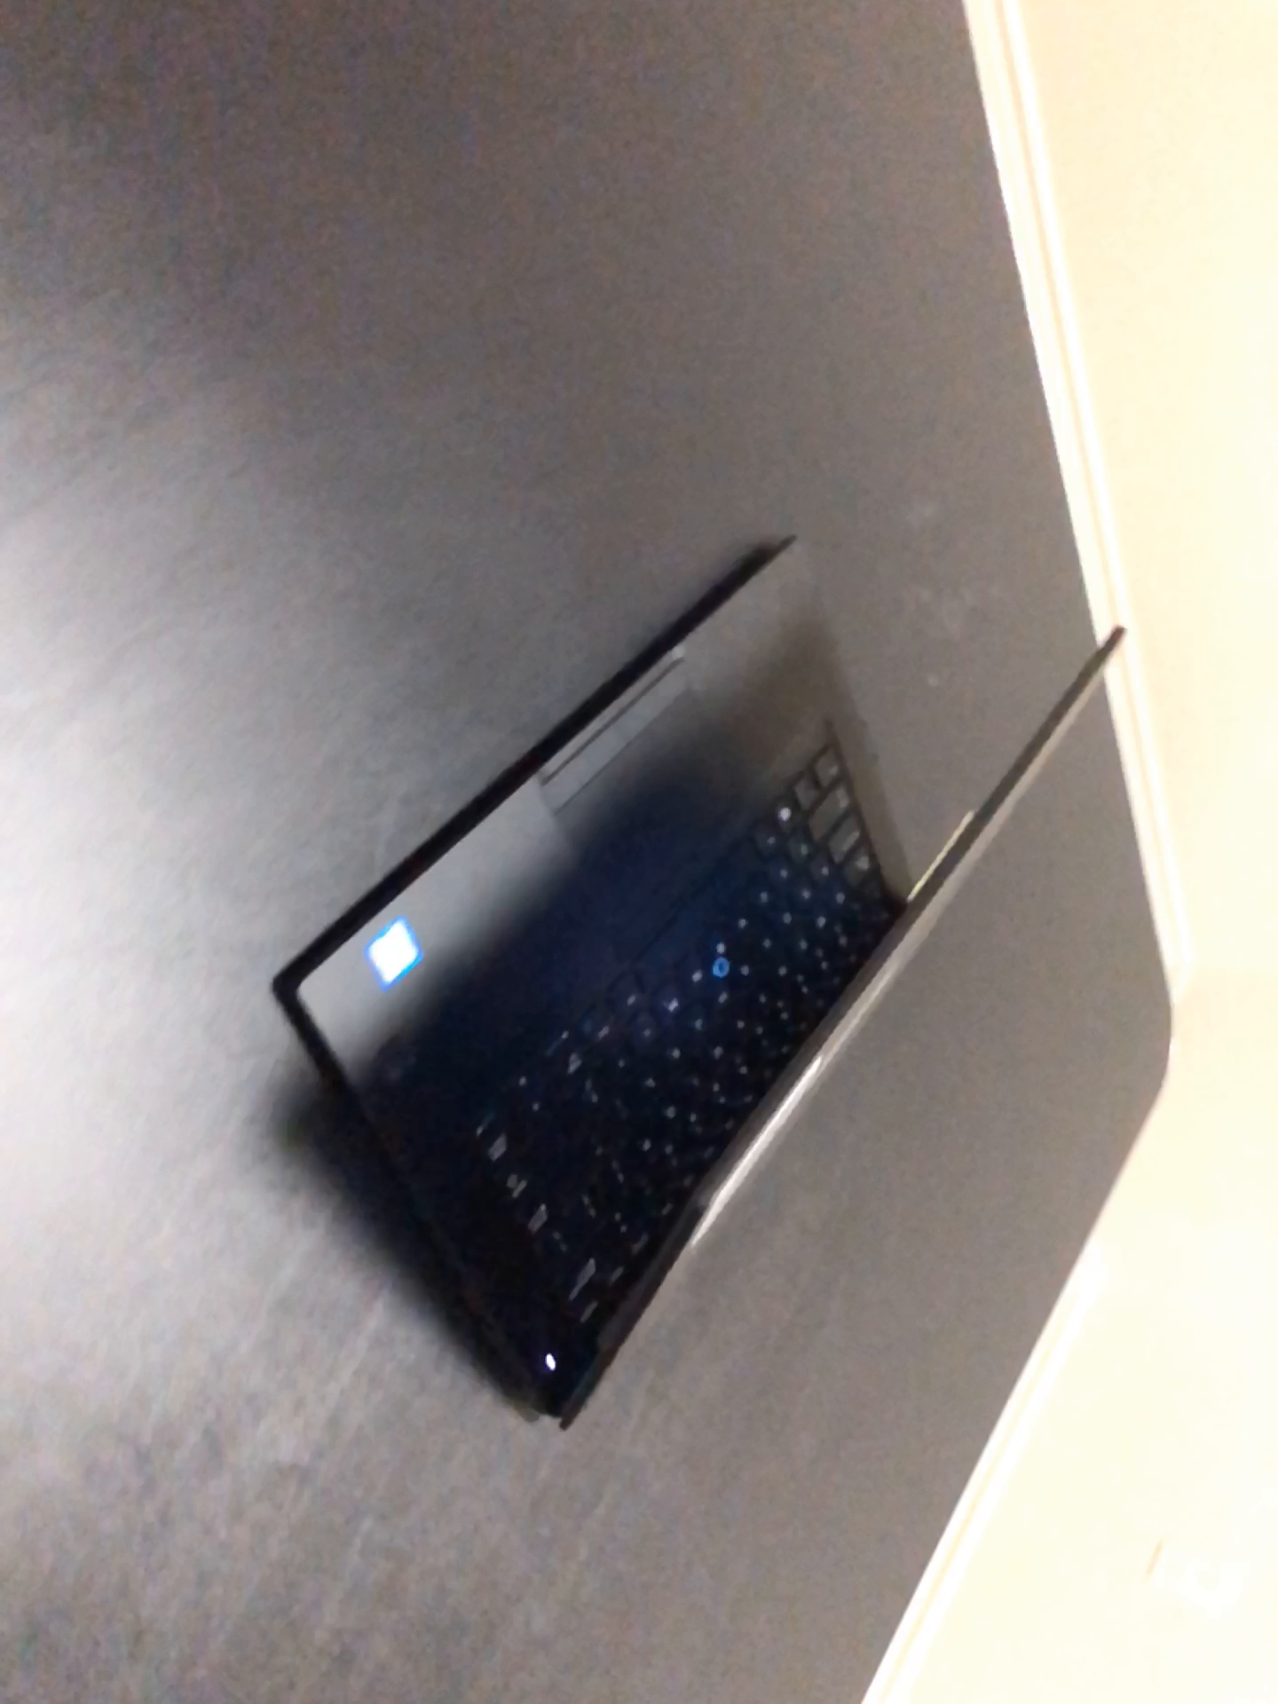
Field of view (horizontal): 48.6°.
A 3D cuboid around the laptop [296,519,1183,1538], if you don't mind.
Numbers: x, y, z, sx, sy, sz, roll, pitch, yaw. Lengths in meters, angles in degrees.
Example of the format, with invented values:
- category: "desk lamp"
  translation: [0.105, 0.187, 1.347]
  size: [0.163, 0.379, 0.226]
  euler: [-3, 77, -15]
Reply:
- category: "laptop"
  translation: [0.073, 0.044, 0.553]
  size: [0.319, 0.142, 0.220]
  euler: [-46, 126, -38]
